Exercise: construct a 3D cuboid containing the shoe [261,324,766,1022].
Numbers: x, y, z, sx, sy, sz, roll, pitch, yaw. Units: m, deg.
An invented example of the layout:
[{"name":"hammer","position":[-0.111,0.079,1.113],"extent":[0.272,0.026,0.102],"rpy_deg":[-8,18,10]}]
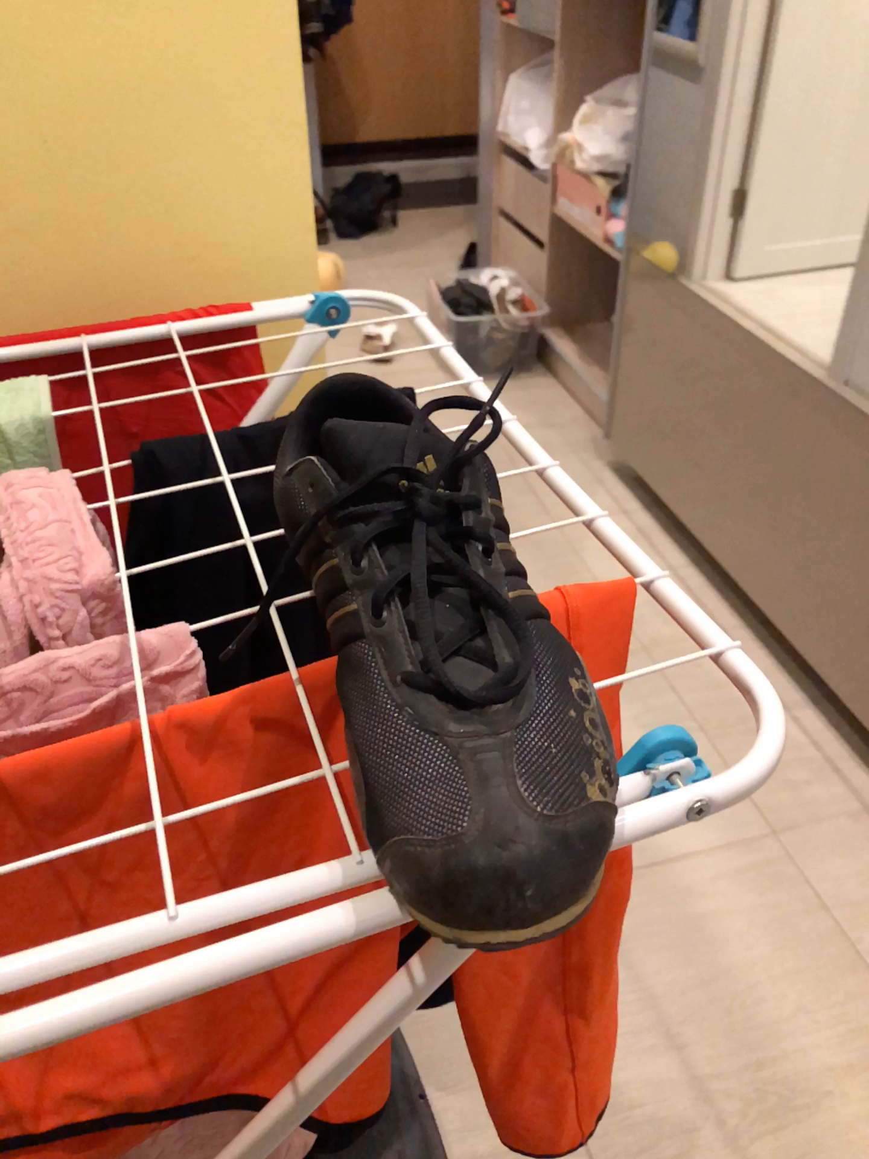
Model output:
[{"name":"shoe","position":[0.003,0.004,0.357],"extent":[0.098,0.099,0.262],"rpy_deg":[-9,36,-11]}]
